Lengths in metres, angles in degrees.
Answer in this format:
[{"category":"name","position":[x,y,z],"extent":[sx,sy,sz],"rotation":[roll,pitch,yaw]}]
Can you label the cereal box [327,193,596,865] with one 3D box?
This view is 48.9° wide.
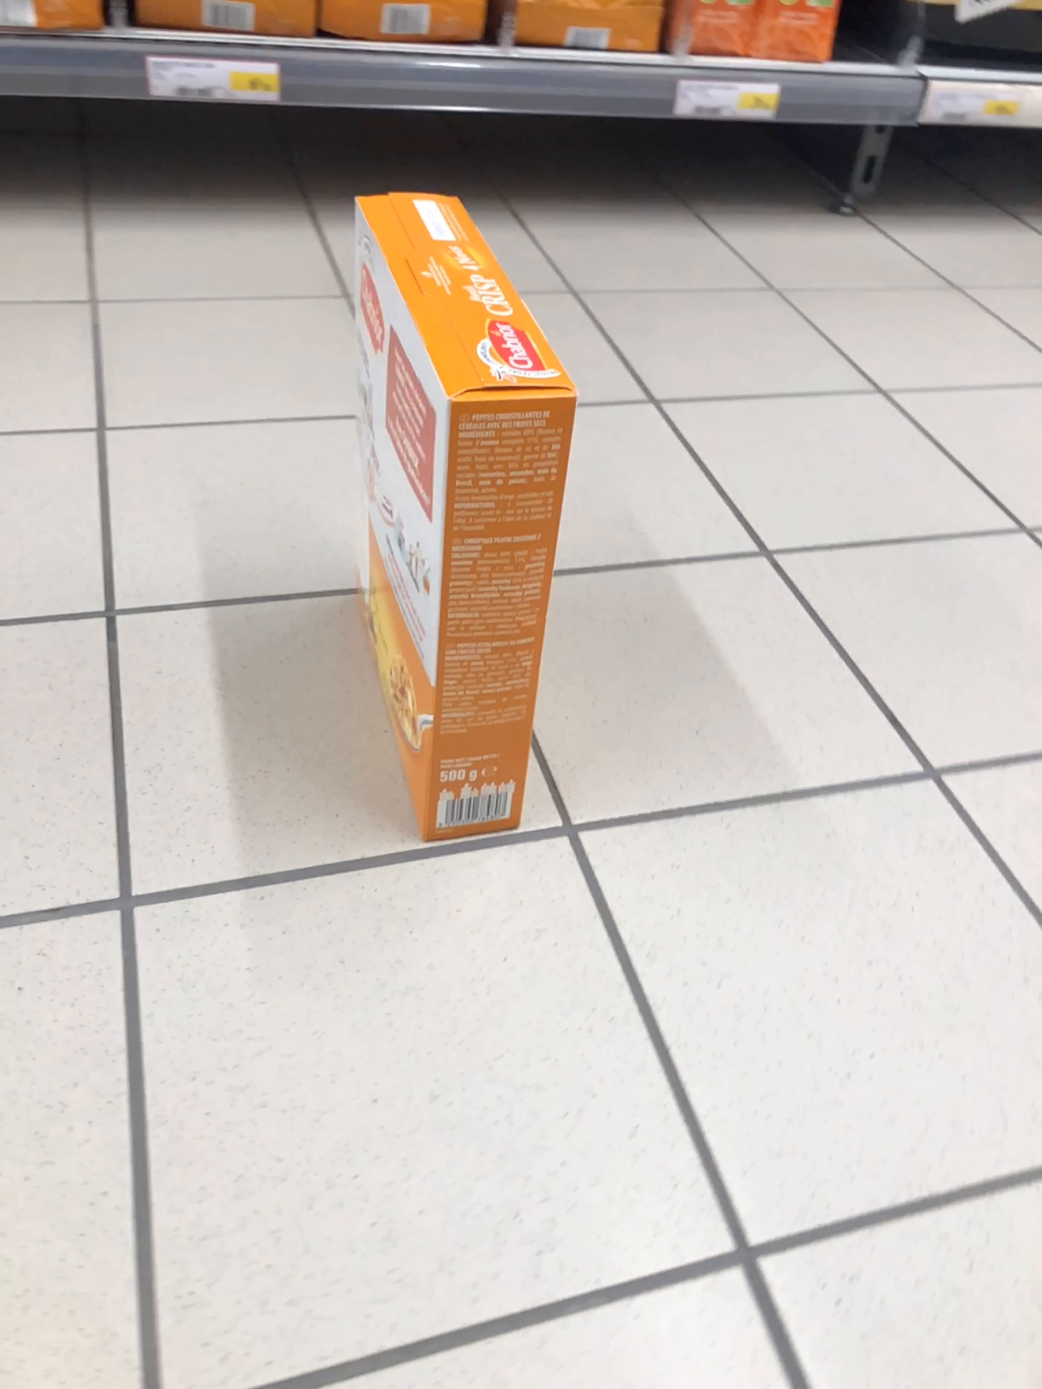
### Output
[{"category":"cereal box","position":[-0.042,-0.076,0.512],"extent":[0.060,0.219,0.201],"rotation":[-6,43,-15]}]
